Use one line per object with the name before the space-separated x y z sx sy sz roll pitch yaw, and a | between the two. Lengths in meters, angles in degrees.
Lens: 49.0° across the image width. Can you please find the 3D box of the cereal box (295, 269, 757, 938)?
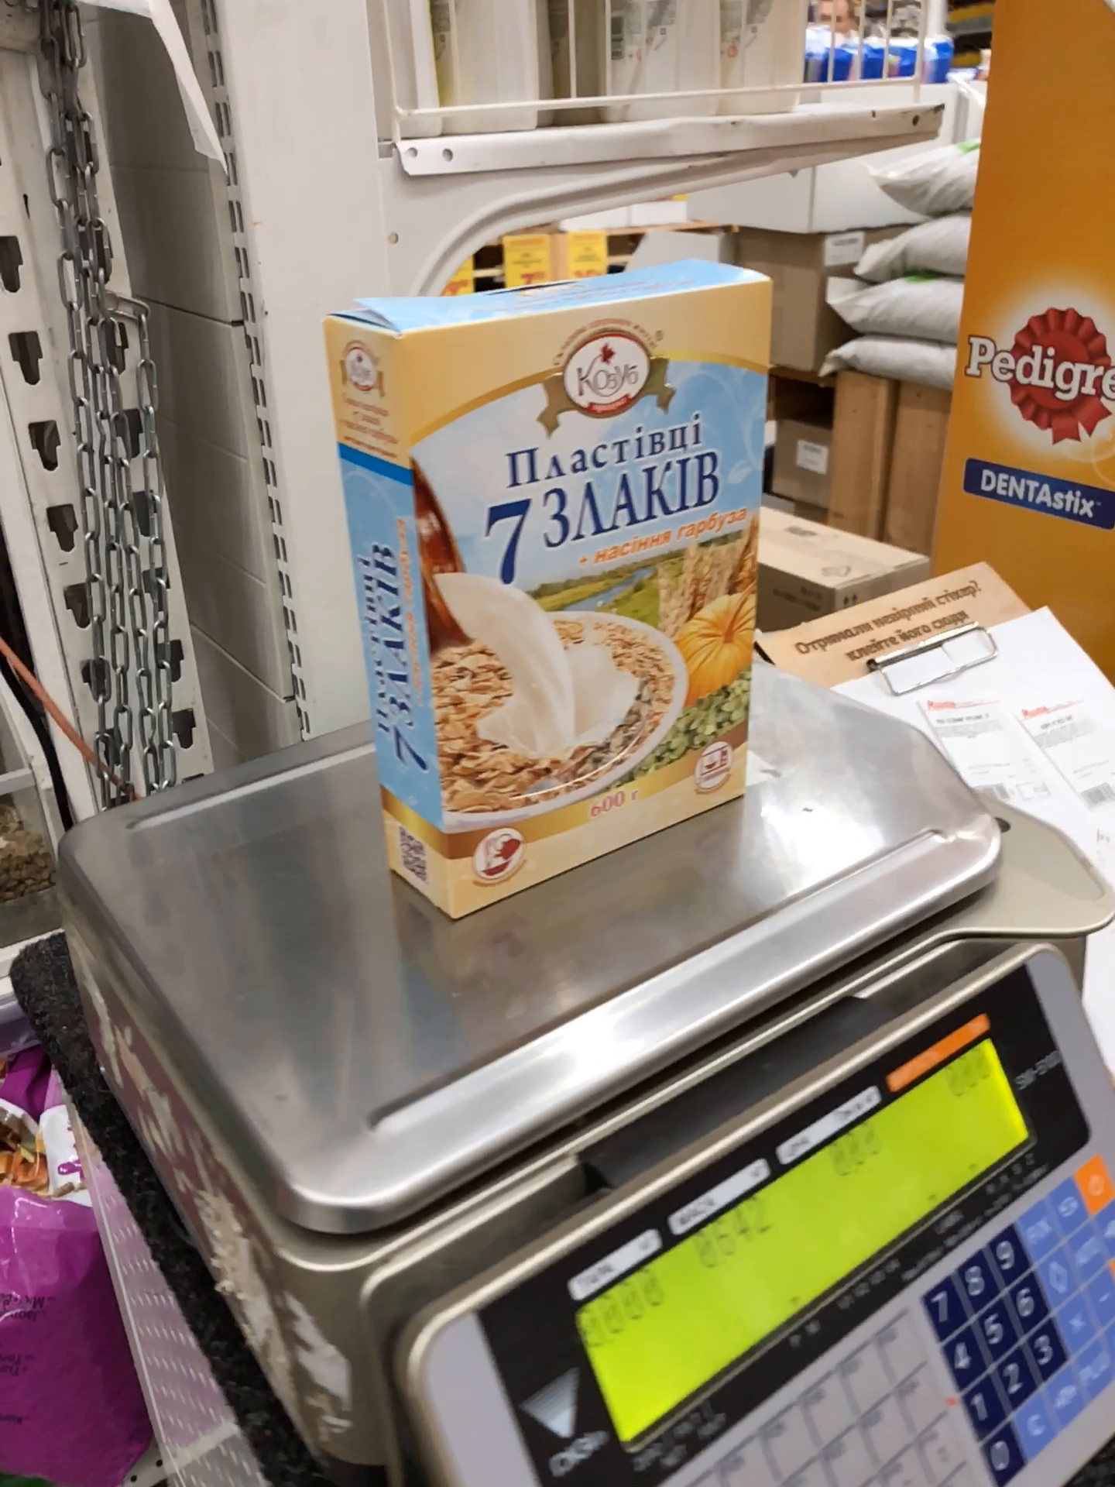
cereal box | -0.006 -0.059 0.492 0.160 0.228 0.060 -19 32 -31
